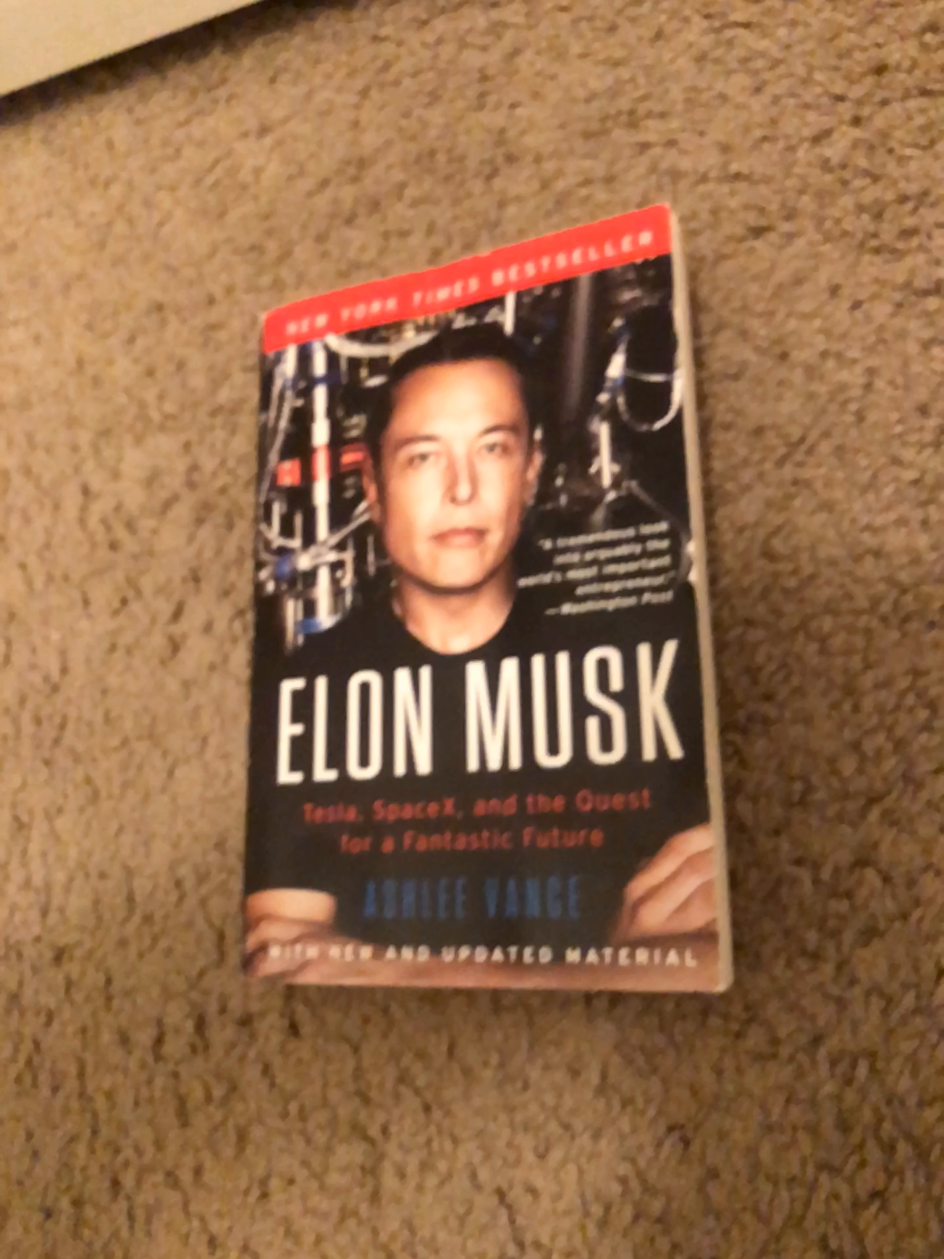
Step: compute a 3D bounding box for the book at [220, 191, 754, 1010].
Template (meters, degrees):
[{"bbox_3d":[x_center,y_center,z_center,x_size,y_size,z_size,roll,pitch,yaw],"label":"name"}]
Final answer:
[{"bbox_3d":[0.000,-0.005,0.298,0.136,0.033,0.202,-7,75,25],"label":"book"}]
